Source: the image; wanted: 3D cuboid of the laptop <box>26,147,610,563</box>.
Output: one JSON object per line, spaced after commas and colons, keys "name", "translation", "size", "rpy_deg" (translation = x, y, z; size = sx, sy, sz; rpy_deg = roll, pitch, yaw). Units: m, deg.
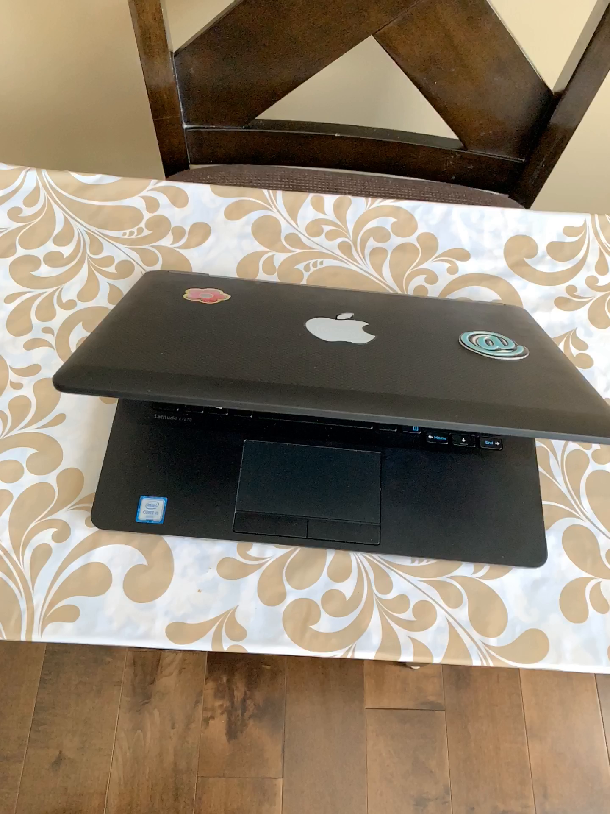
{"name": "laptop", "translation": [0.021, -0.028, 0.400], "size": [0.300, 0.127, 0.199], "rpy_deg": [6, 63, -2]}
